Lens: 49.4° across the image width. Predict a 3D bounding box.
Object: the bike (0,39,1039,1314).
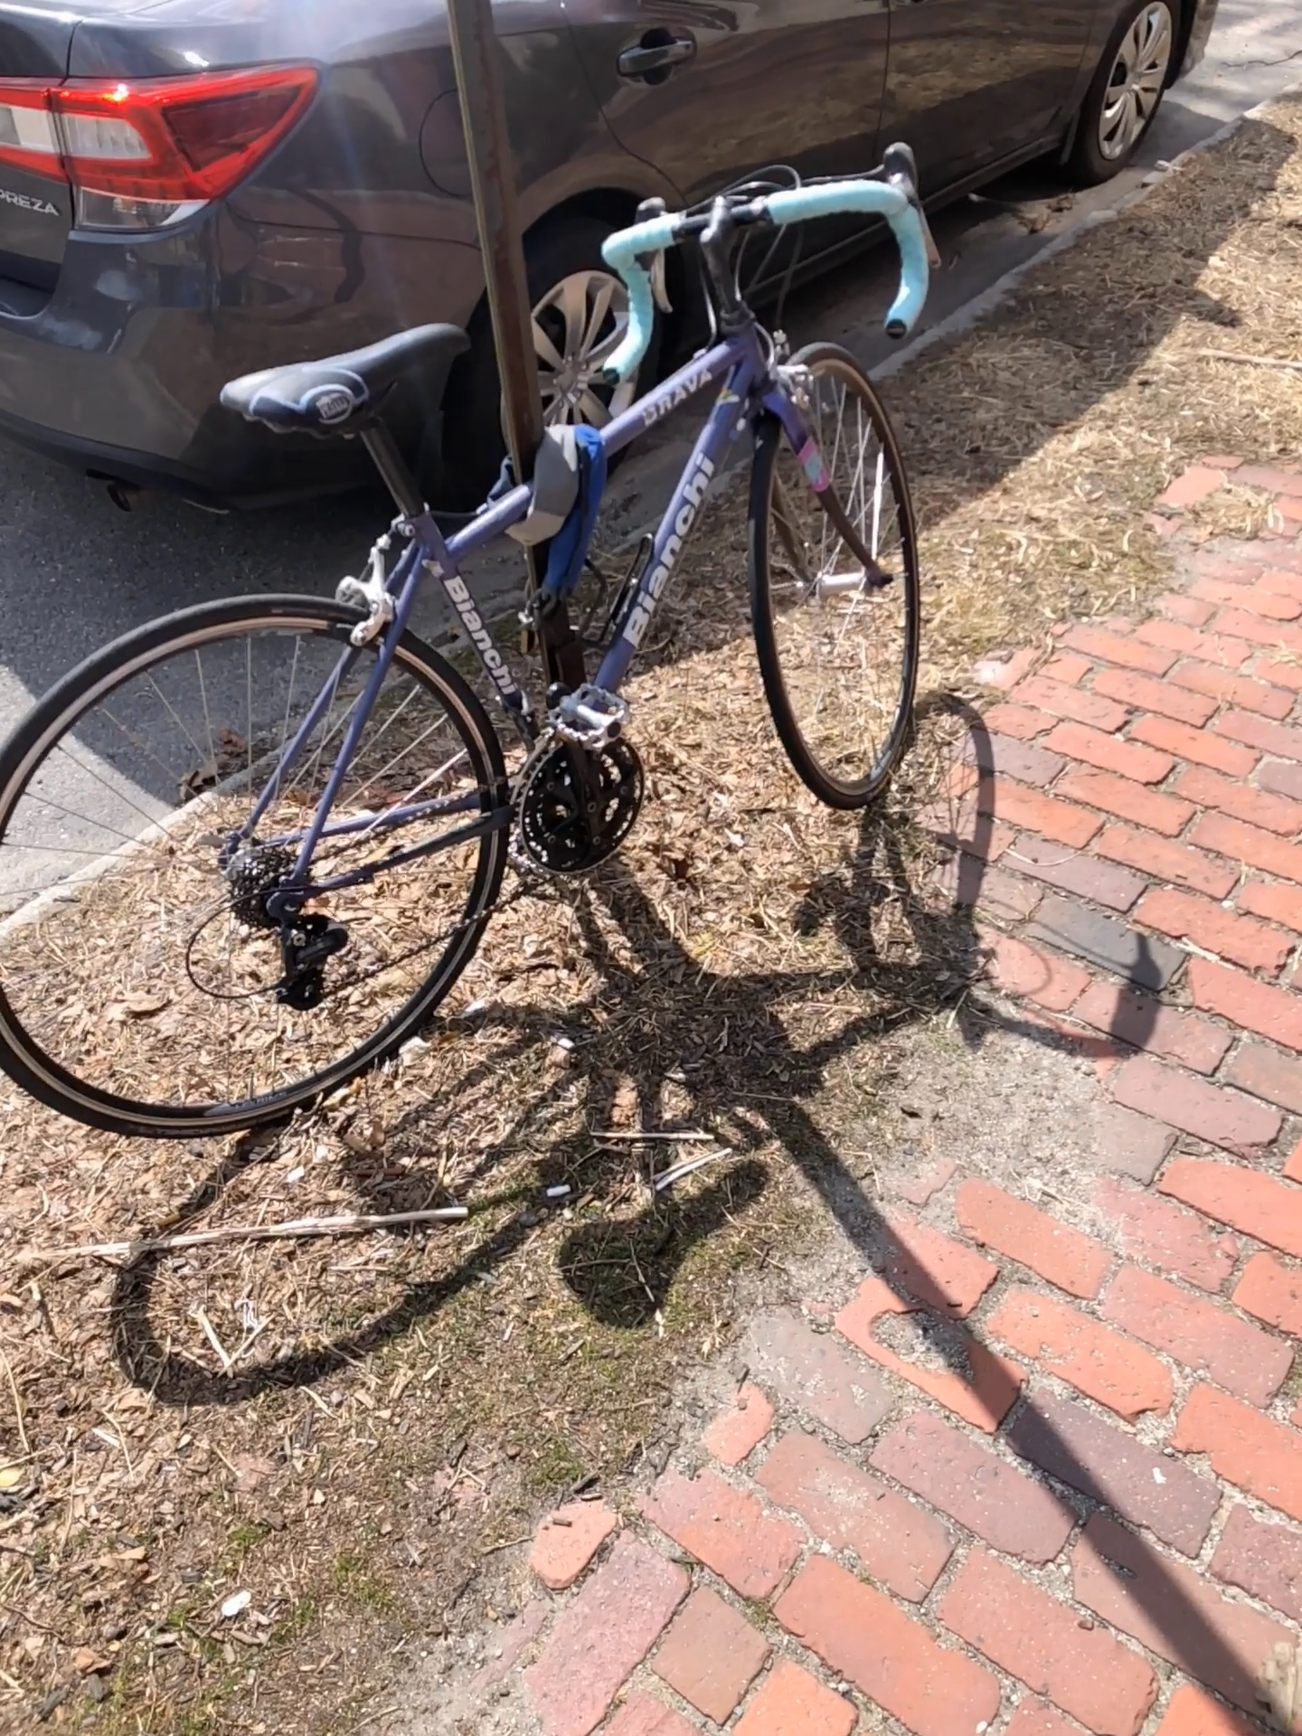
[{"bbox_3d":[-0.184,-0.334,1.735,1.453,0.734,0.461,-37,49,-26],"label":"bike"}]
